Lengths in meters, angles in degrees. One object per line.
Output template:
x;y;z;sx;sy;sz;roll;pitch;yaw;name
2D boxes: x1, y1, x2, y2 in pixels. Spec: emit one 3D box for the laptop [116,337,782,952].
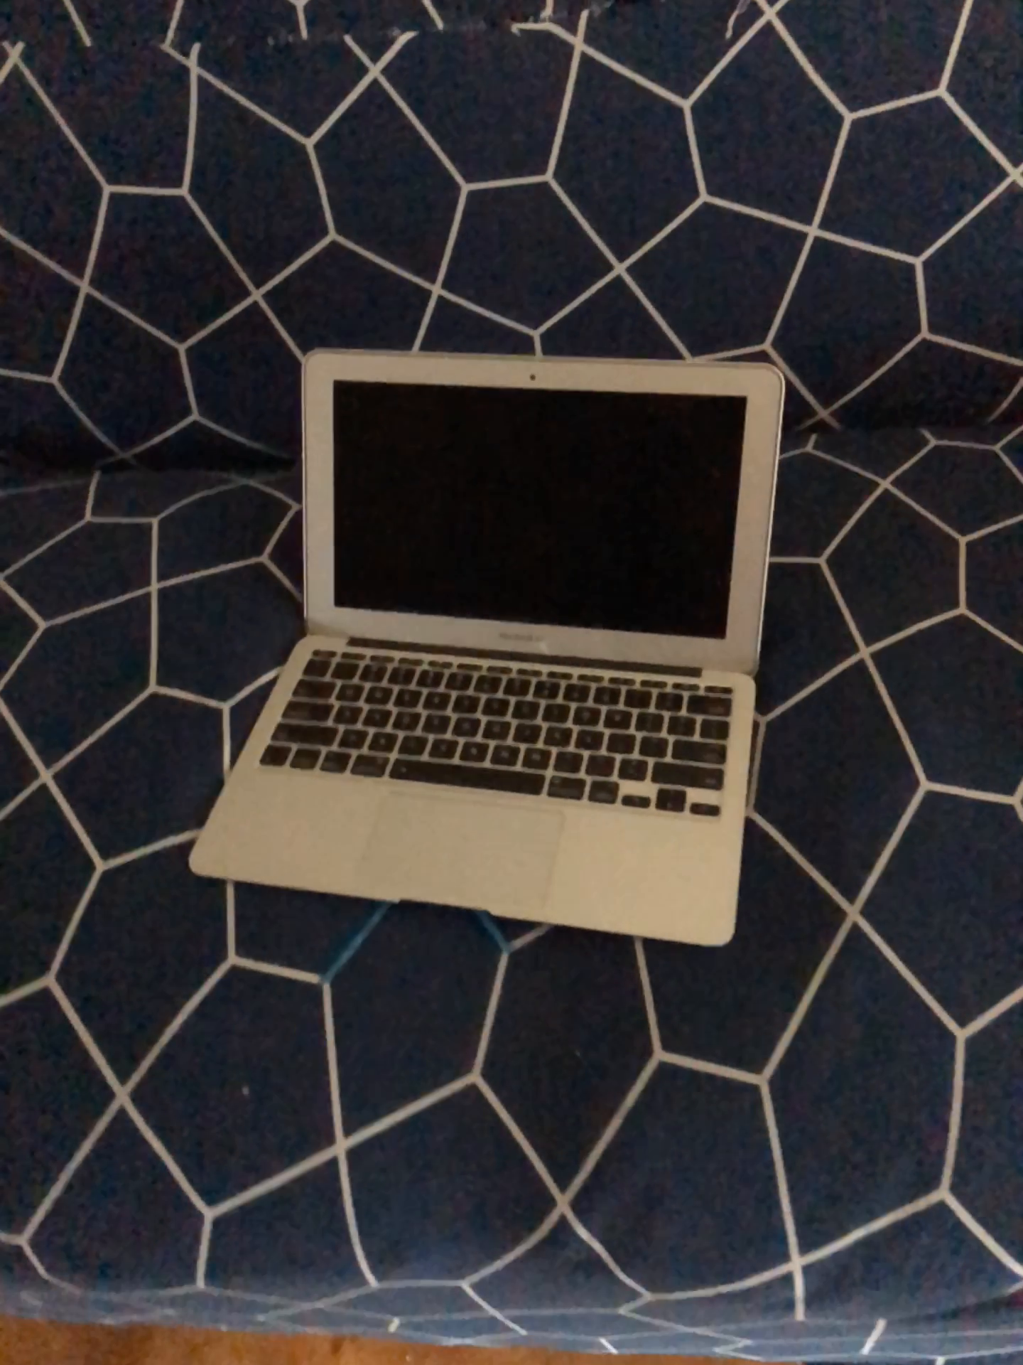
-0.006;-0.041;0.615;0.281;0.156;0.281;6;45;11;laptop
